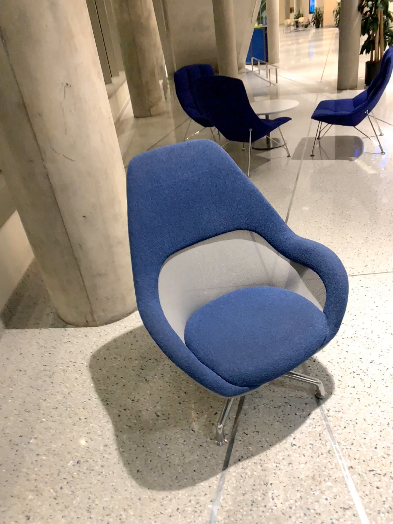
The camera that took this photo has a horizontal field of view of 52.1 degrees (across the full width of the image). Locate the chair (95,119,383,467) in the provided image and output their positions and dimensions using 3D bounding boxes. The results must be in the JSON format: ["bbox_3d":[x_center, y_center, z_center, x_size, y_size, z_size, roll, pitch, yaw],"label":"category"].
[{"bbox_3d":[0.142,0.063,1.542,0.716,0.962,0.639,-18,31,-16],"label":"chair"}]

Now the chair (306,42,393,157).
[{"bbox_3d":[1.446,-1.521,3.789,0.725,0.834,0.743,4,32,21],"label":"chair"}]

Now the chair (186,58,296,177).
[{"bbox_3d":[0.439,-1.366,3.767,0.696,0.854,0.682,-29,36,-32],"label":"chair"}]
